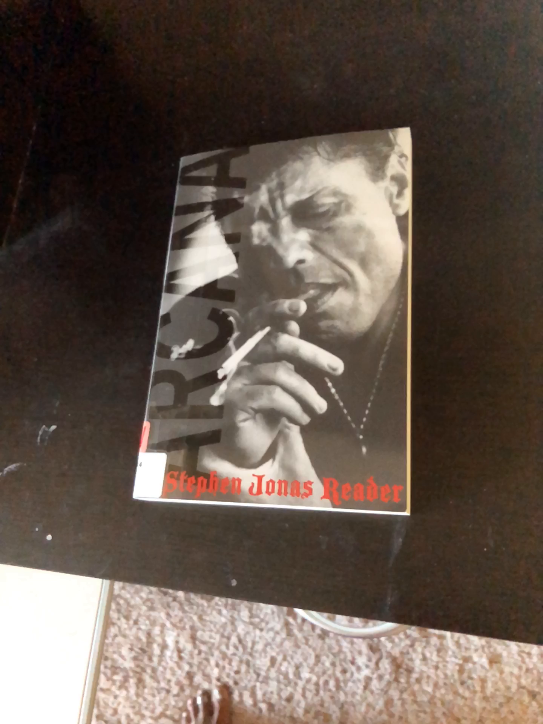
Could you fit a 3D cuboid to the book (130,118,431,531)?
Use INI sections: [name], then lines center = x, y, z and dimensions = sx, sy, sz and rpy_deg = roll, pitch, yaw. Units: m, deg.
[book]
center = 0.011, -0.030, 0.395
dimensions = 0.179, 0.024, 0.260
rpy_deg = -1, 72, 18
